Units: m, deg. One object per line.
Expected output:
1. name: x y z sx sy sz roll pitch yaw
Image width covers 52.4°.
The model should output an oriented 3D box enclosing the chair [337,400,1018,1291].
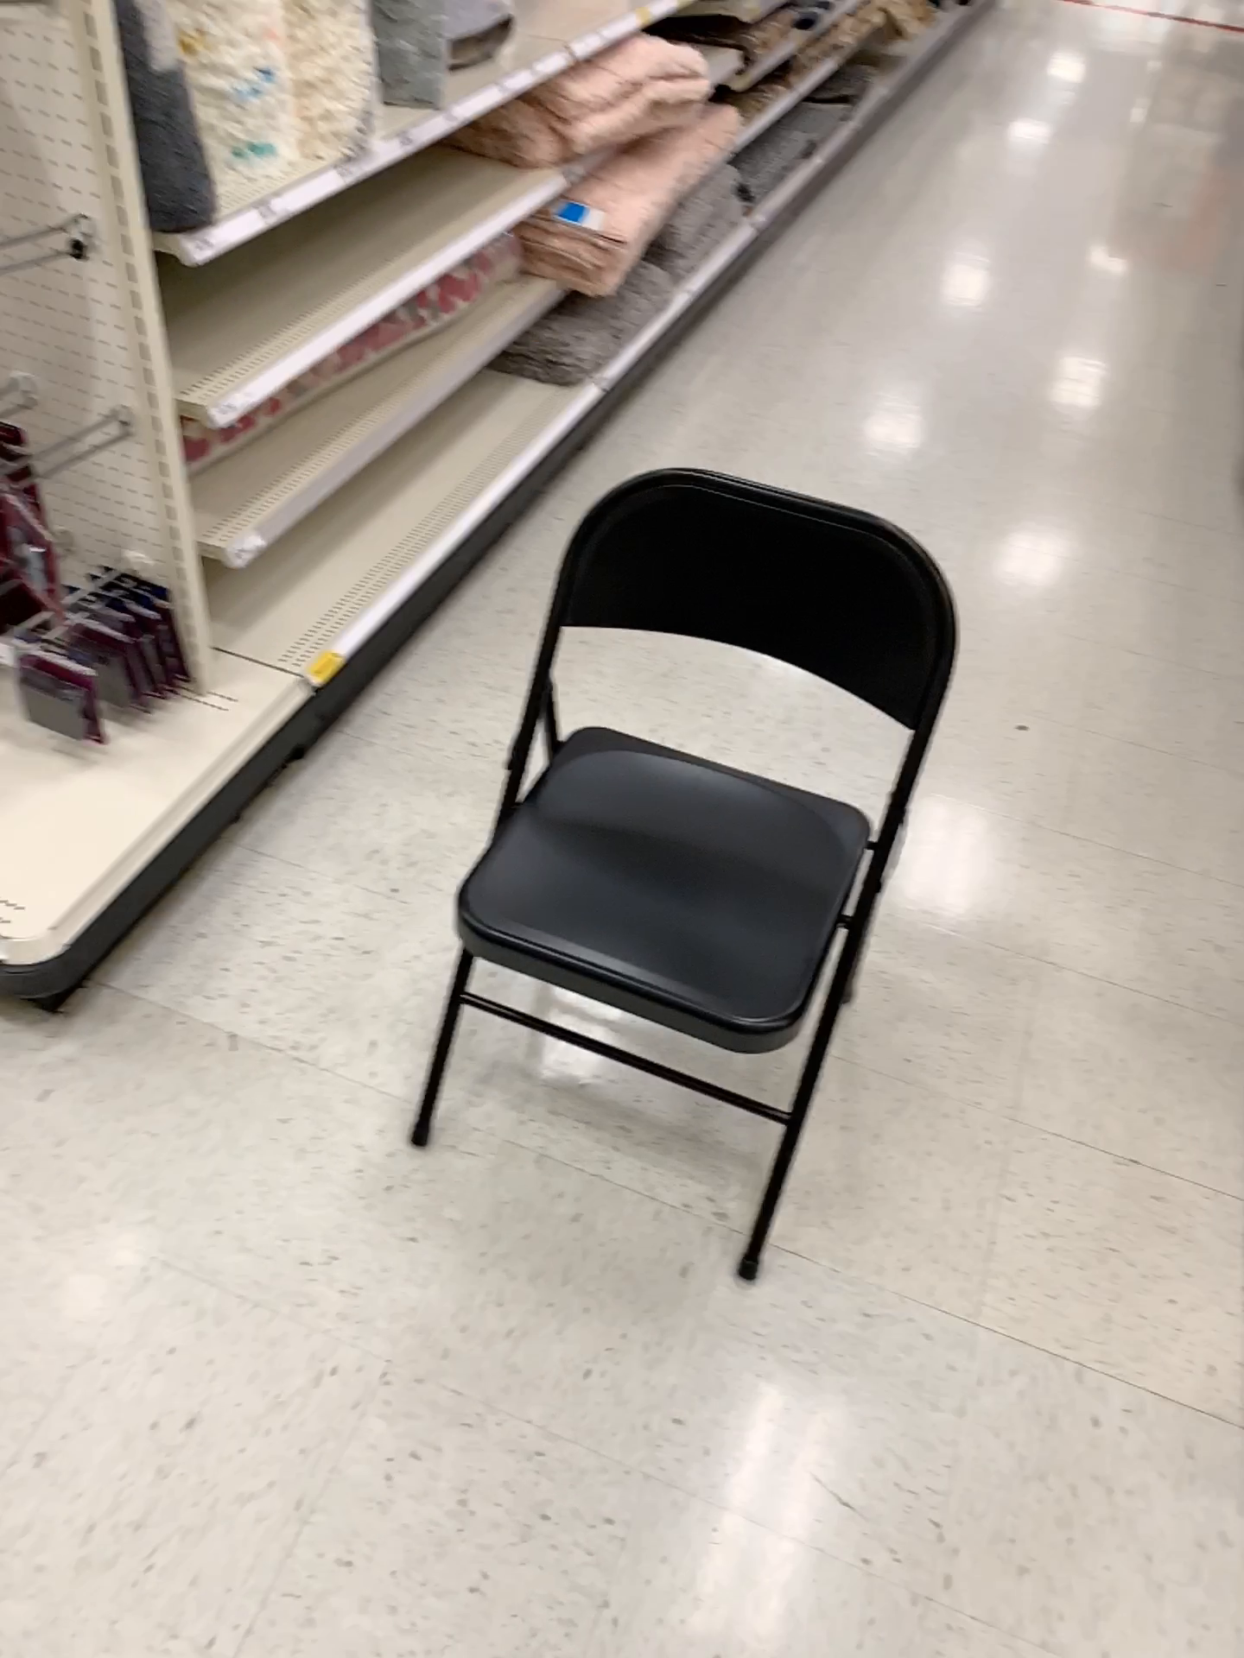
1. chair: 0.061 0.019 1.432 0.490 0.716 0.553 18 44 12
